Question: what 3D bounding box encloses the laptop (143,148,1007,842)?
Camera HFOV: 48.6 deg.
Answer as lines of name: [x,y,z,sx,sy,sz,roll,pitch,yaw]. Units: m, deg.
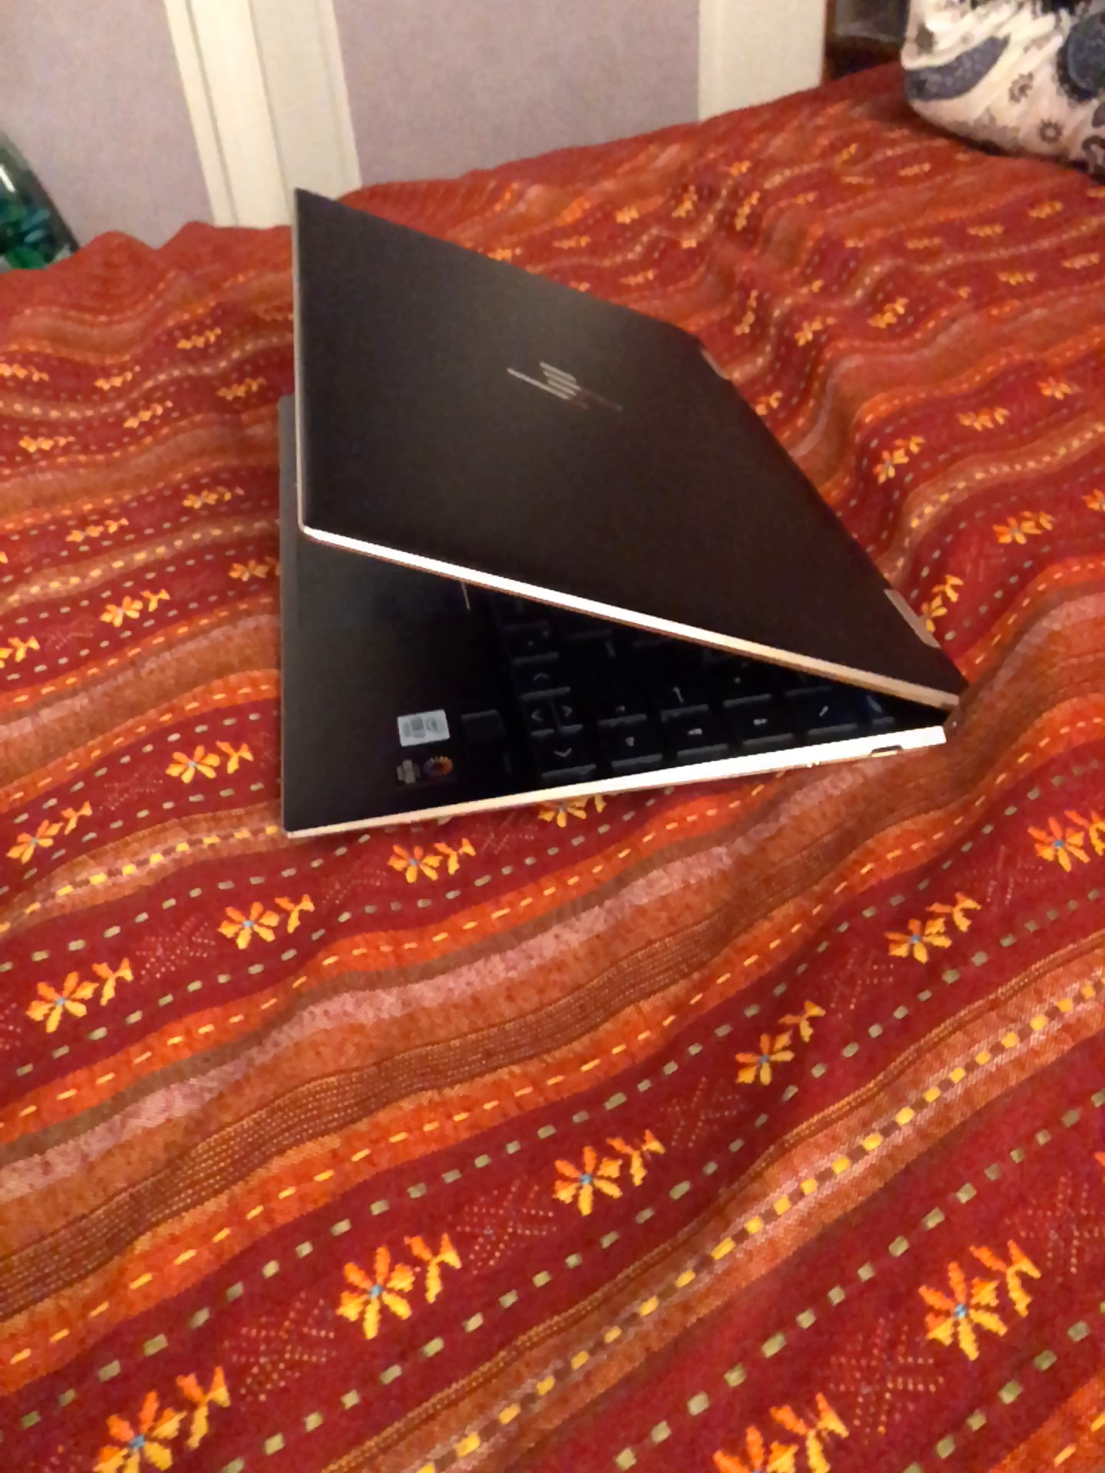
laptop: [-0.005,-0.123,0.439,0.202,0.101,0.327,-7,35,-8]
